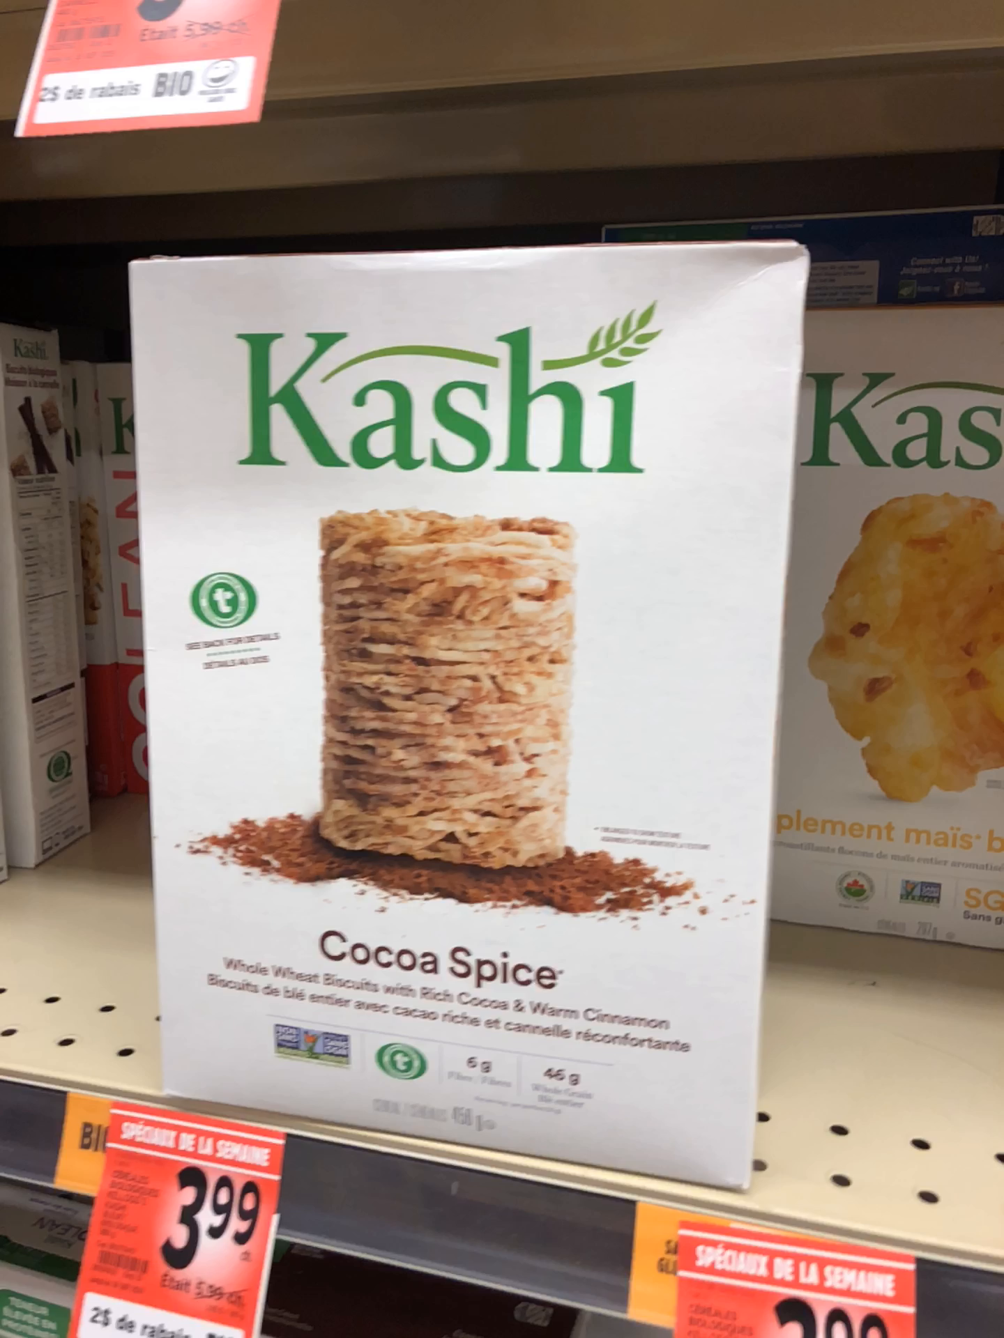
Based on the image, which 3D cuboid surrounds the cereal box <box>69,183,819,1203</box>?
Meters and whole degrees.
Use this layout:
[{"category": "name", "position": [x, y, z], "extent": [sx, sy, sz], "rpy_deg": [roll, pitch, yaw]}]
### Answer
[{"category": "cereal box", "position": [-0.018, 0.006, 0.351], "extent": [0.210, 0.279, 0.060], "rpy_deg": [3, 11, 14]}]
